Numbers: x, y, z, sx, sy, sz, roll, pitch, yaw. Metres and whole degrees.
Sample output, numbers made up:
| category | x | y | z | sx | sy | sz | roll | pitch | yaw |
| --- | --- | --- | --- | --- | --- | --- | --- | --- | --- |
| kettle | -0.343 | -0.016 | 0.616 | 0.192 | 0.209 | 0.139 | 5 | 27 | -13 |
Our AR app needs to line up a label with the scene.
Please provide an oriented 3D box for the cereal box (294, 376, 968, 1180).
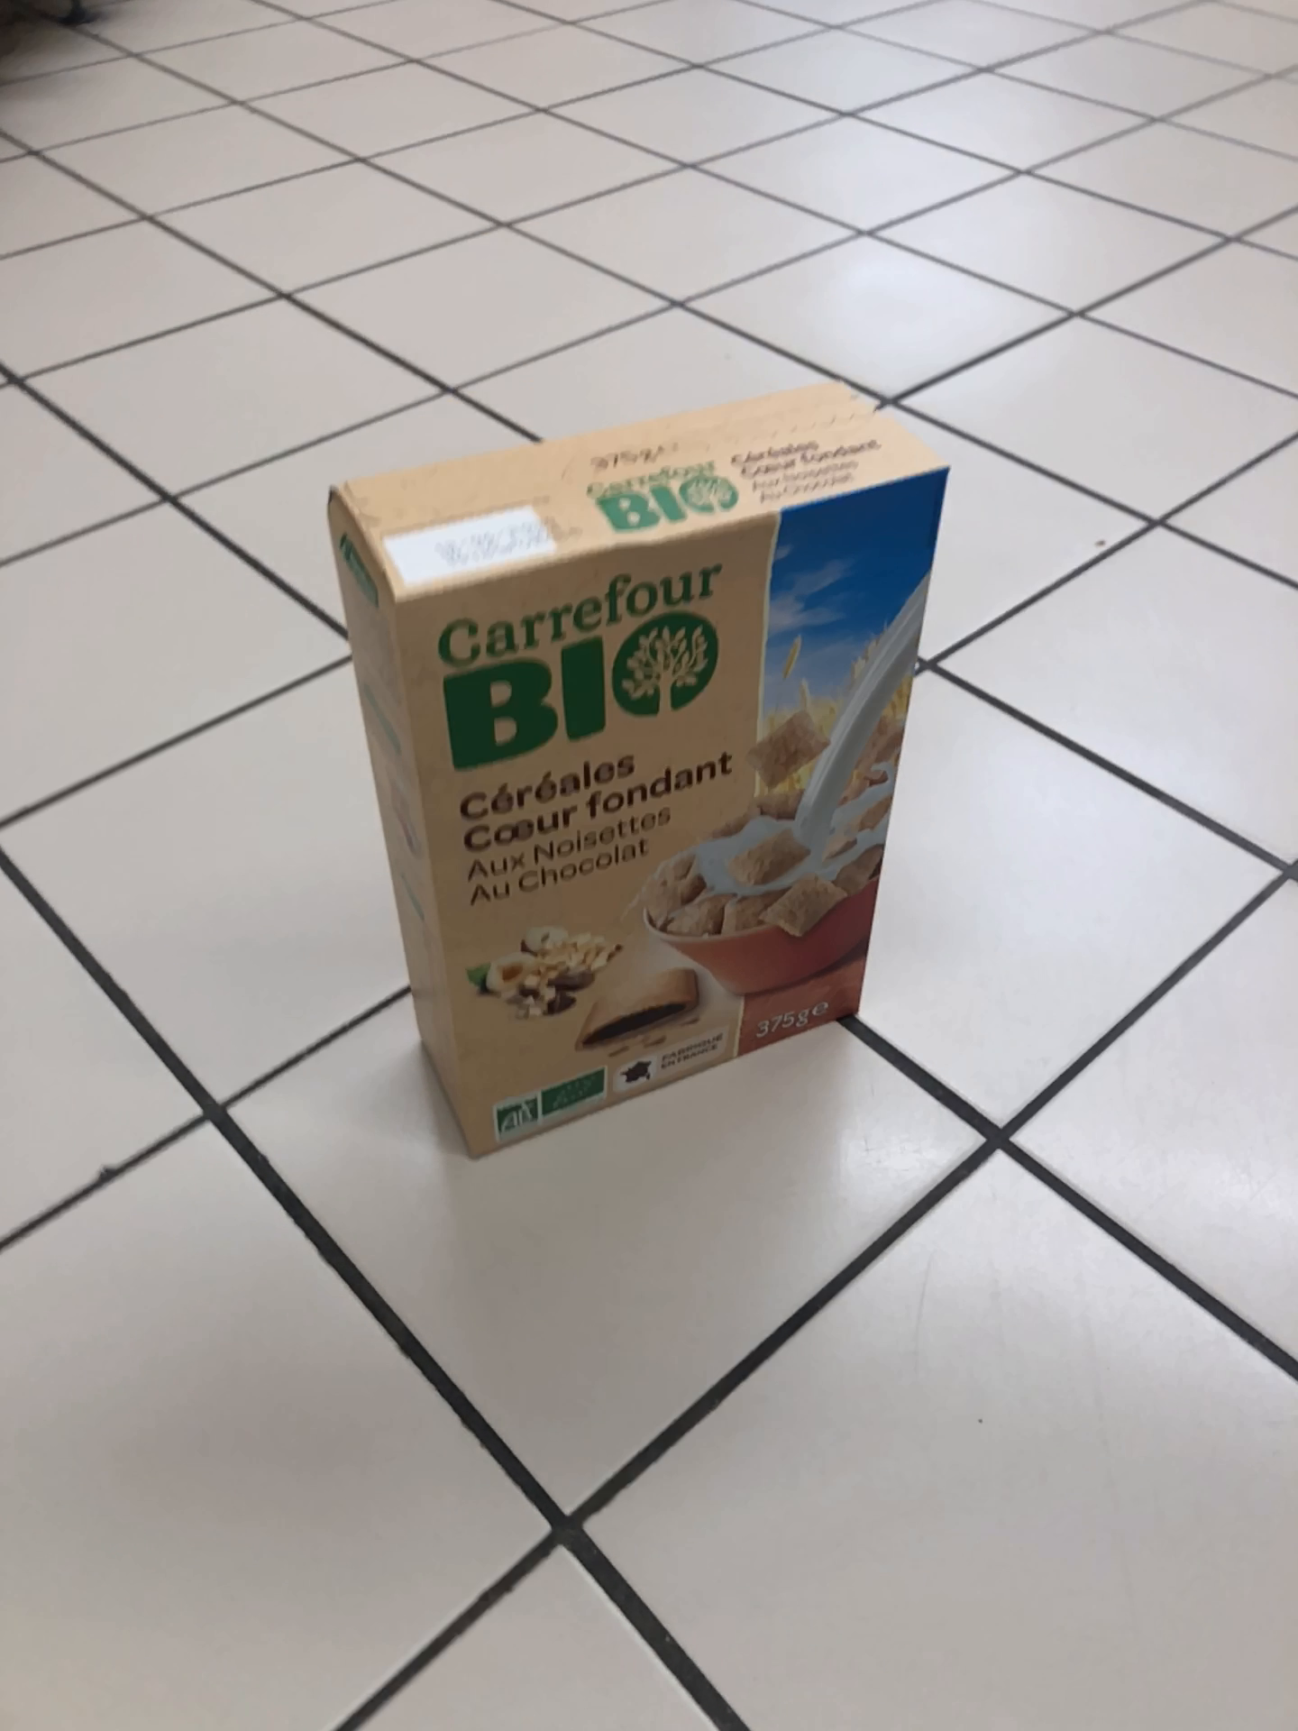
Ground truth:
| category | x | y | z | sx | sy | sz | roll | pitch | yaw |
| --- | --- | --- | --- | --- | --- | --- | --- | --- | --- |
| cereal box | -0.004 | -0.021 | 0.469 | 0.171 | 0.229 | 0.070 | -18 | 46 | -18 |
